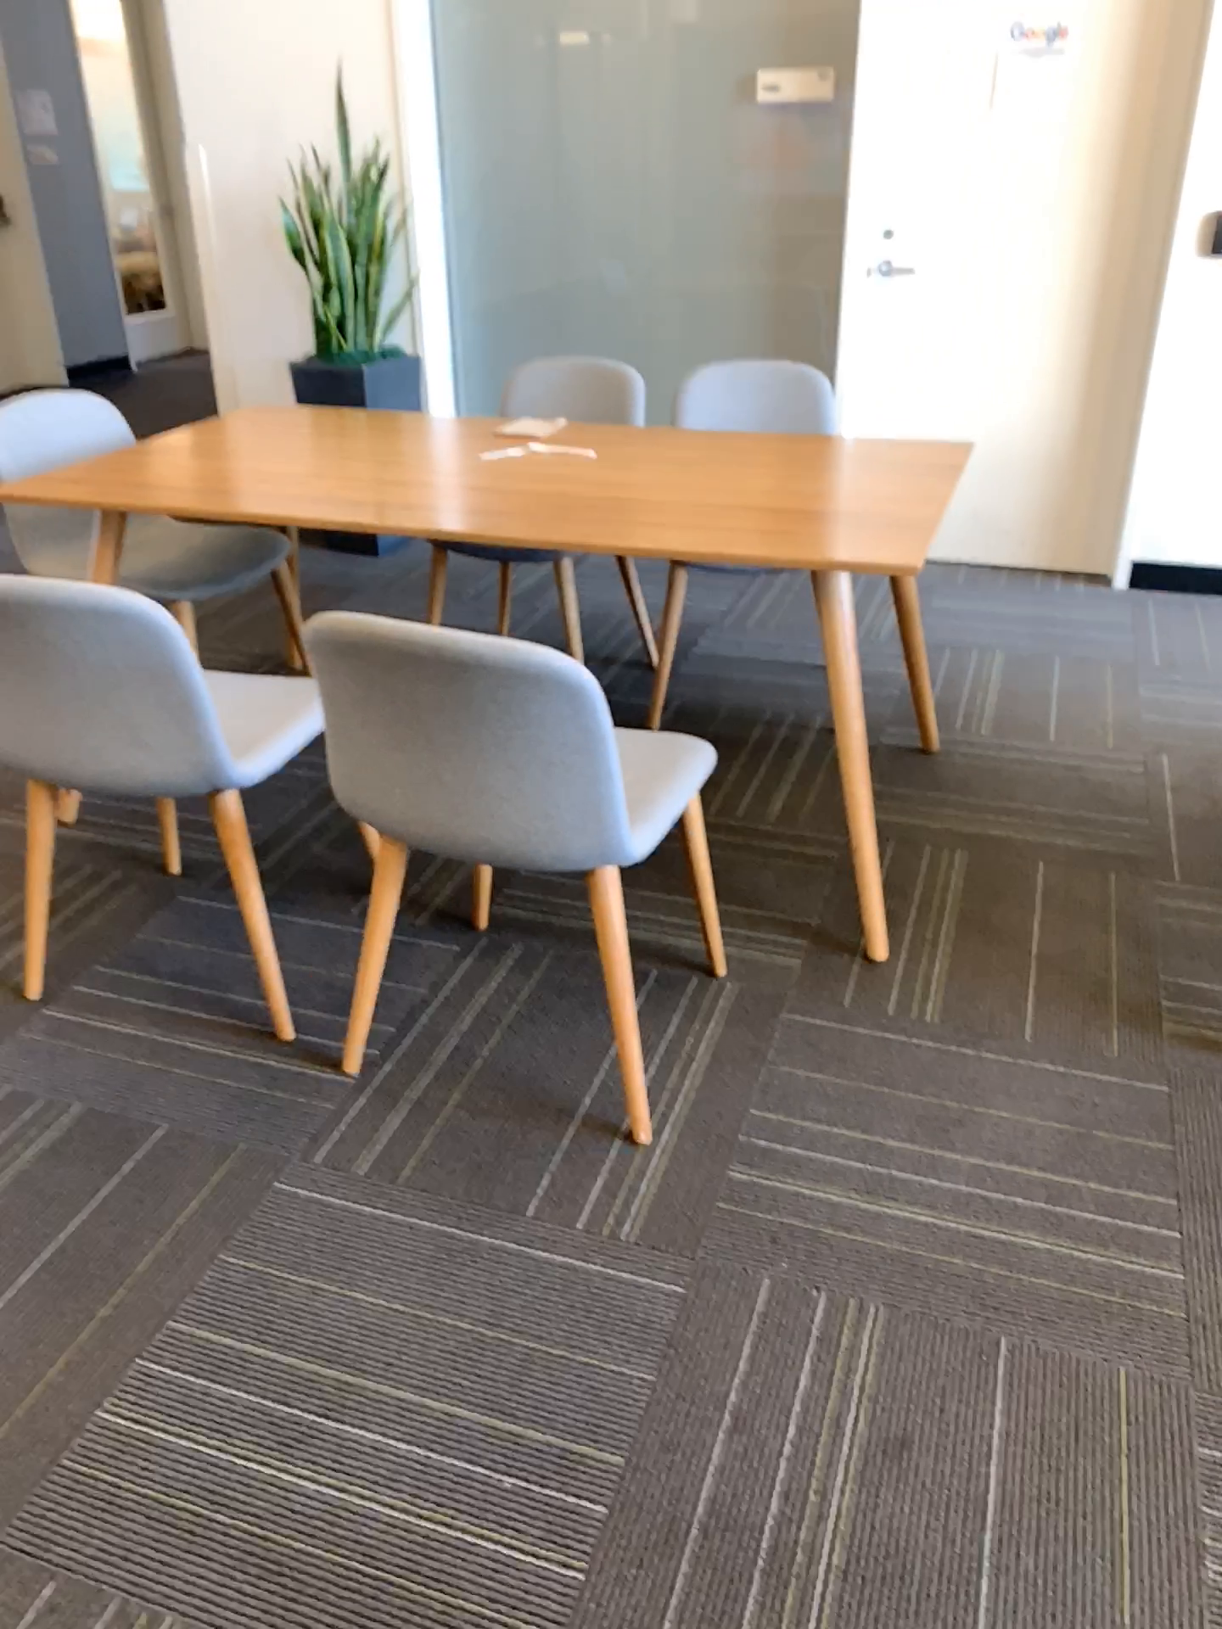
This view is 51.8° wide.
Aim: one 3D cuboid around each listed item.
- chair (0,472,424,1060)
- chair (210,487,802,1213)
[{"bbox_3d":[-0.721,-0.111,2.131,0.571,0.775,0.532,8,29,16],"label":"chair"},{"bbox_3d":[-0.105,0.009,1.846,0.591,0.795,0.572,10,29,20],"label":"chair"}]
